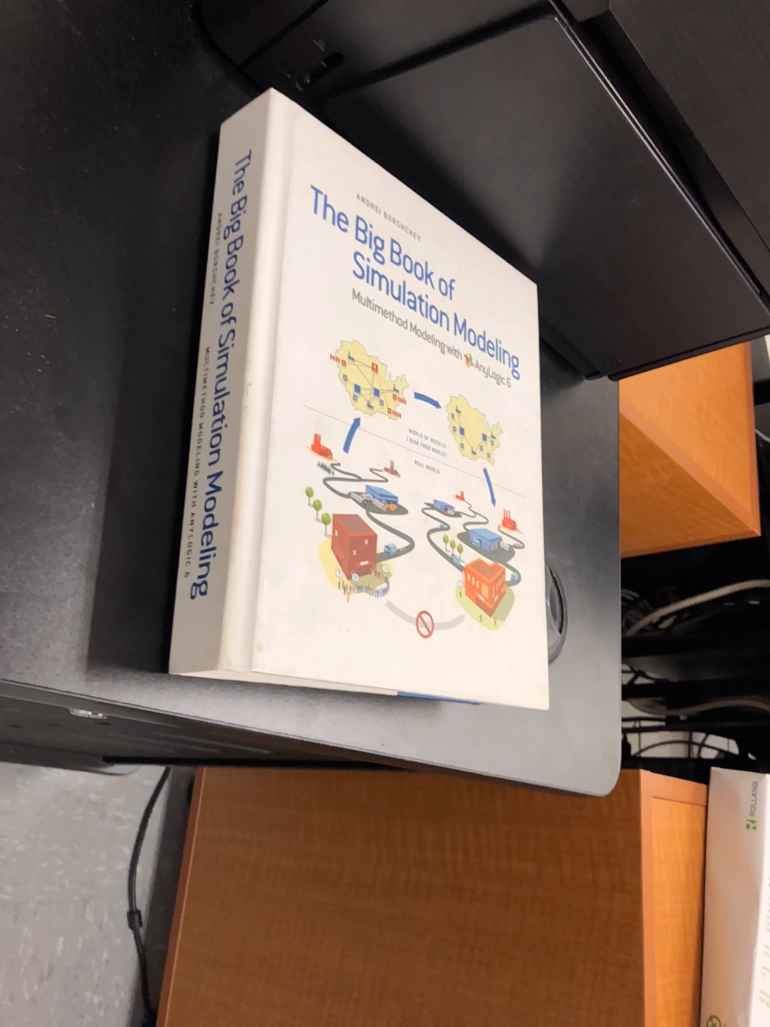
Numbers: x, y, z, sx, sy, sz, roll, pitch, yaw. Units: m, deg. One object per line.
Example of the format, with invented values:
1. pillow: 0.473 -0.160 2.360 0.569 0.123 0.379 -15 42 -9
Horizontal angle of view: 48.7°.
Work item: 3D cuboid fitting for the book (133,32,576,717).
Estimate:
1. book: 0.005 -0.042 0.389 0.211 0.050 0.250 19 66 -44
